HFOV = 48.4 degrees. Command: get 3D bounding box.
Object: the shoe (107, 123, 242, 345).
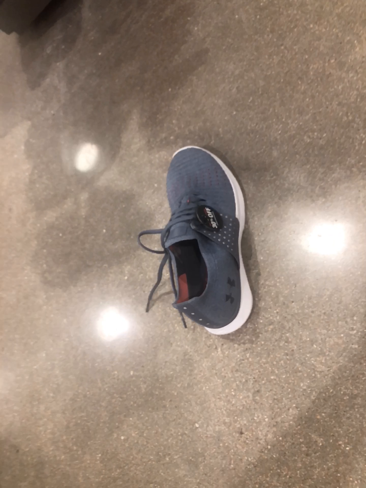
[{"bbox_3d":[-0.016,-0.007,0.529,0.100,0.110,0.250,-21,65,30],"label":"shoe"}]
